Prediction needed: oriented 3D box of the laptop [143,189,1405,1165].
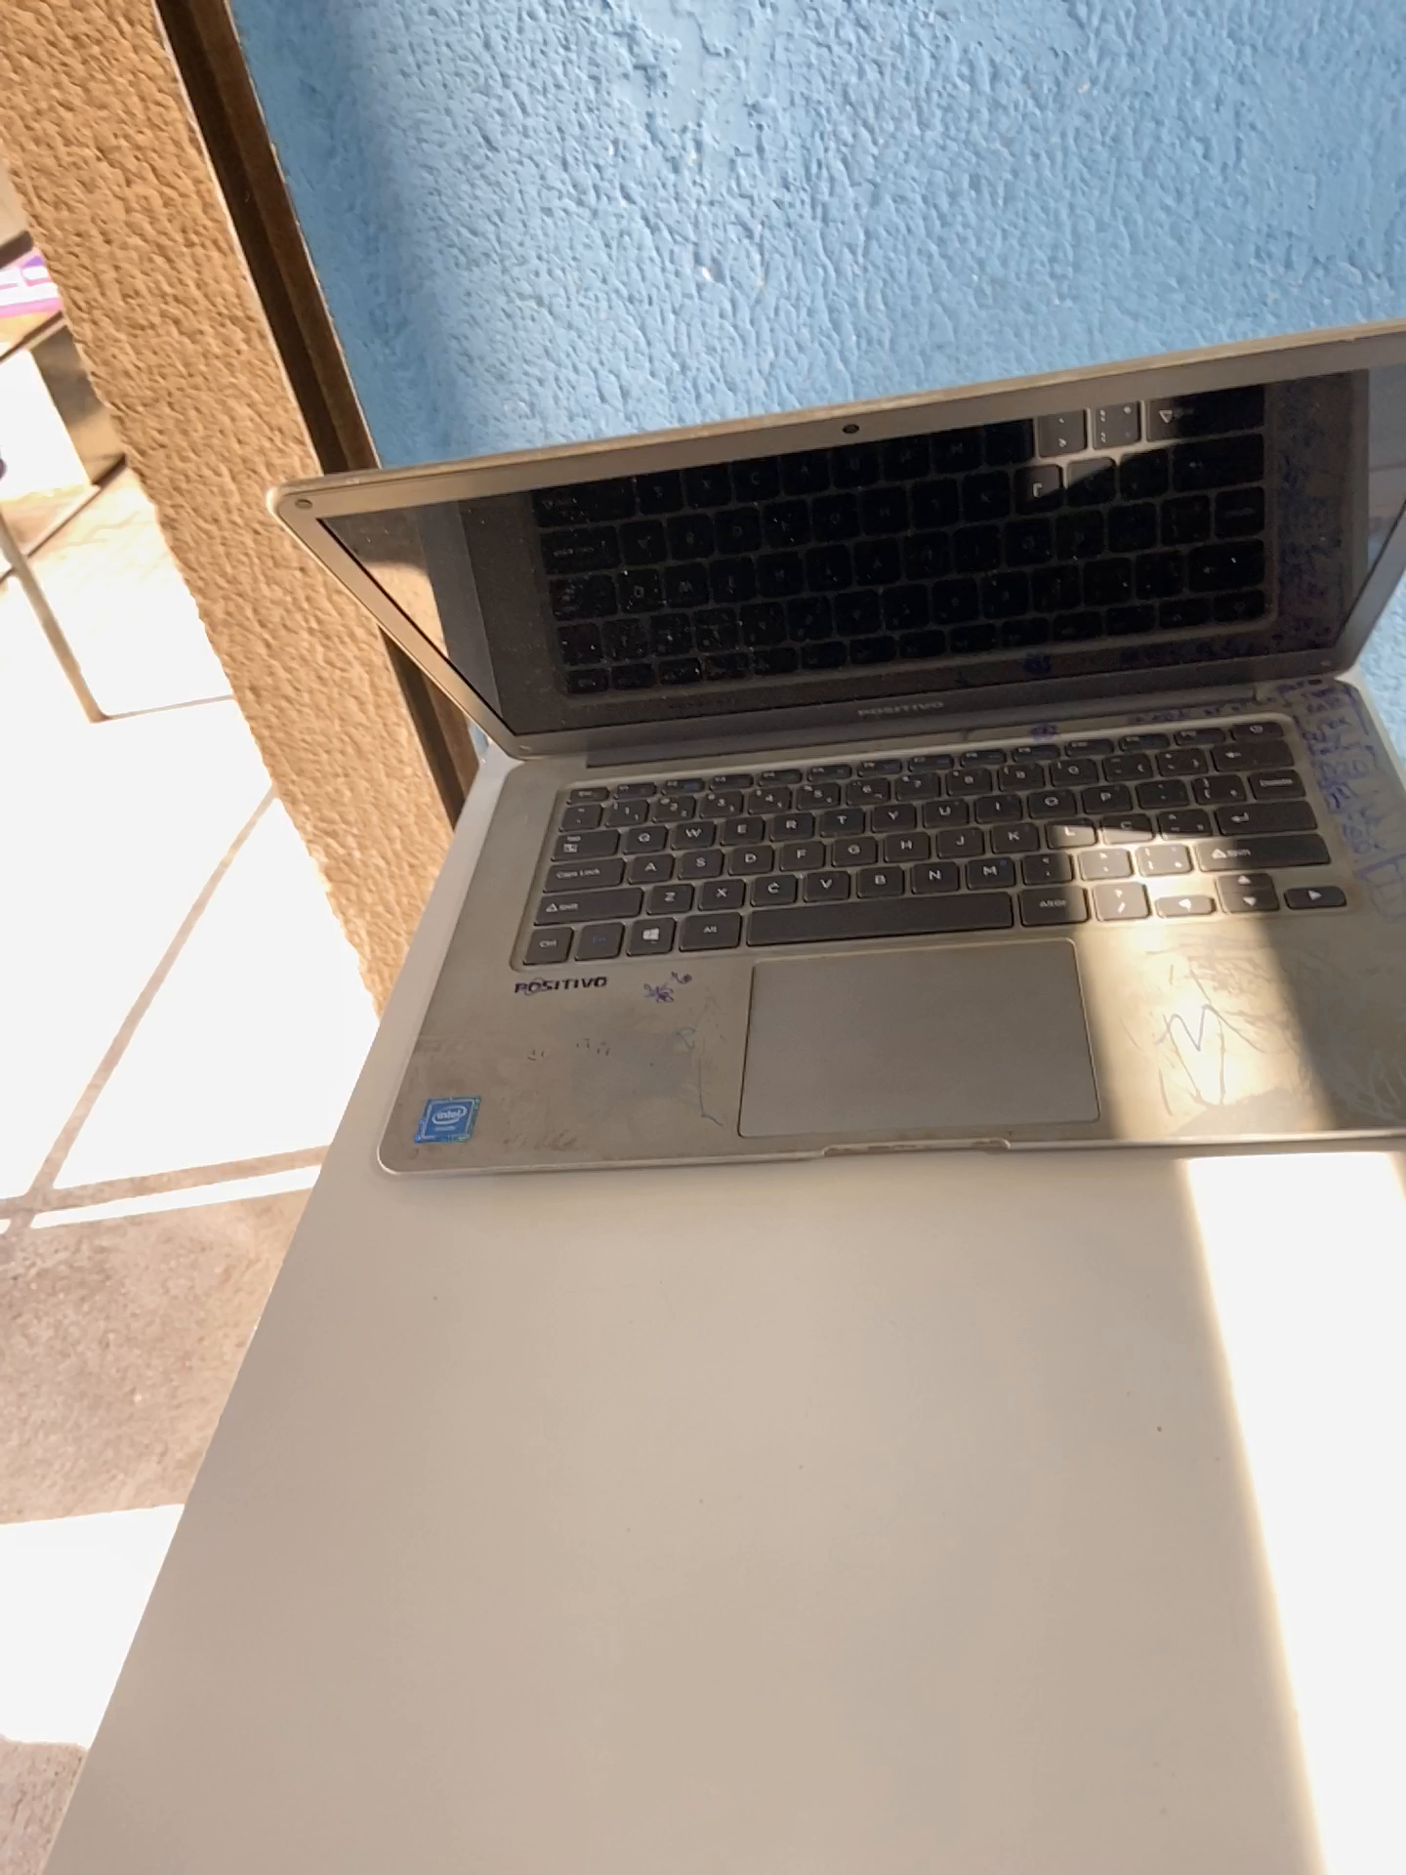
[{"bbox_3d":[0.054,-0.077,0.435,0.326,0.167,0.213,-4,40,11],"label":"laptop"}]
